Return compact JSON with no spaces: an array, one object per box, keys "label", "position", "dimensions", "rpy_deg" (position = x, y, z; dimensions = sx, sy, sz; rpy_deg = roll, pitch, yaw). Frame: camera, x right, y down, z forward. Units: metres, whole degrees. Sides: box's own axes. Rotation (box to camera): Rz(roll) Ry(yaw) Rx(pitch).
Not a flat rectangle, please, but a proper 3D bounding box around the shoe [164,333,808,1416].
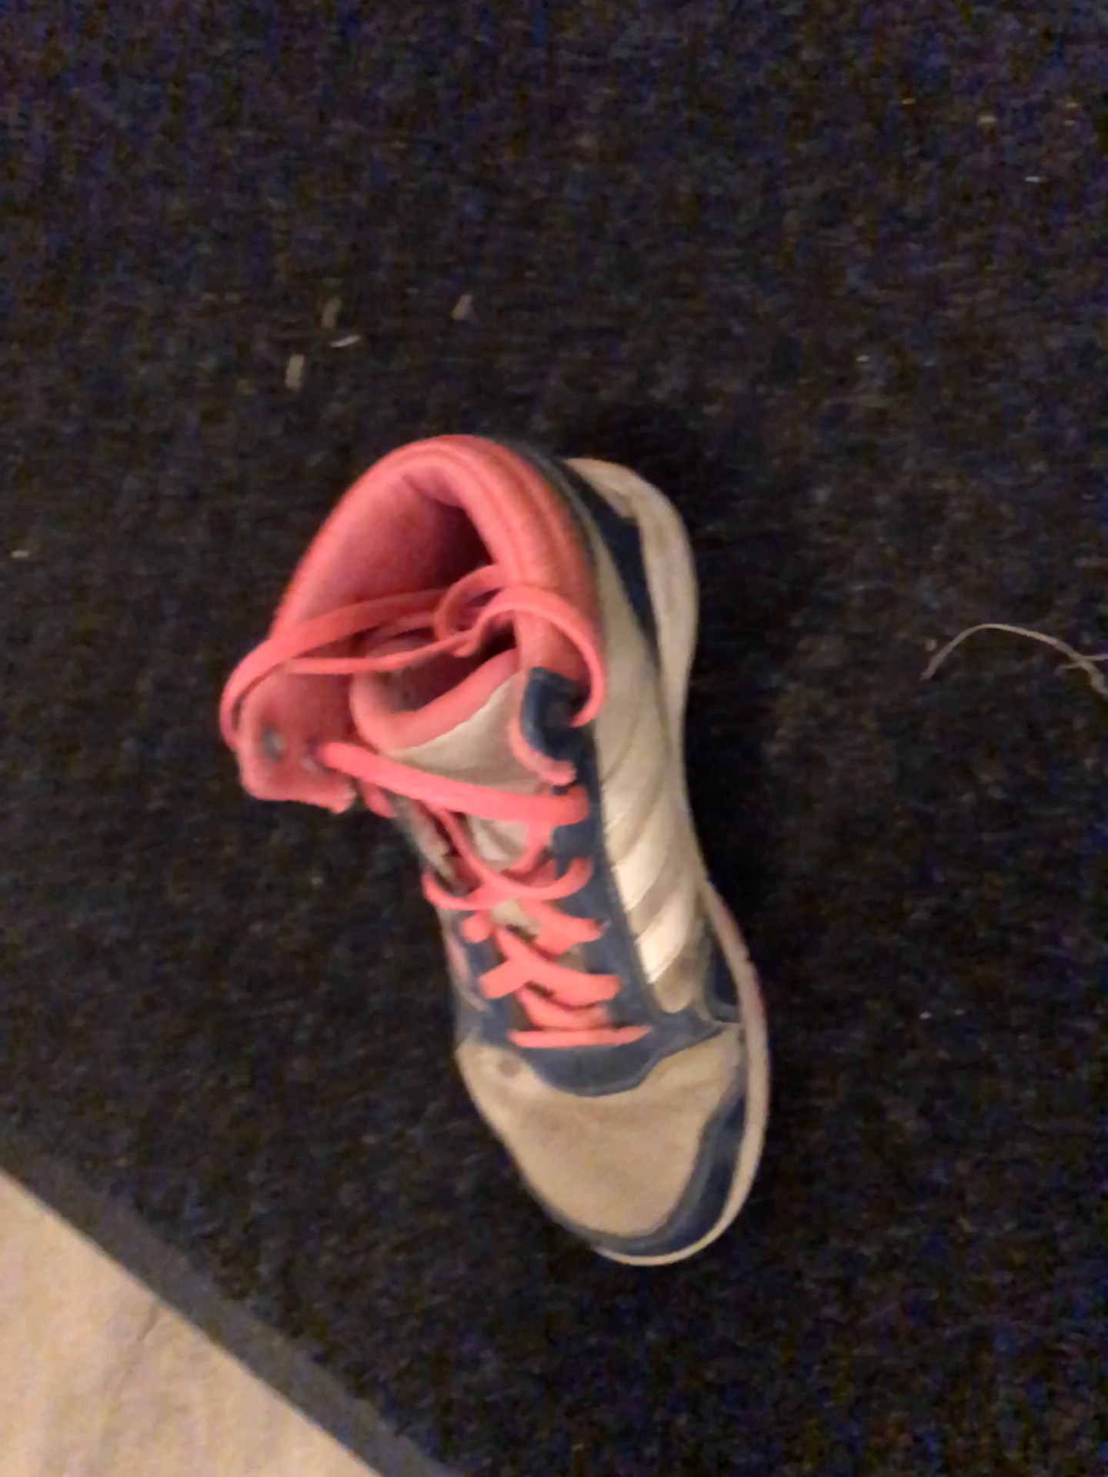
[{"label":"shoe","position":[-0.010,0.029,0.292],"dimensions":[0.090,0.100,0.200],"rpy_deg":[-9,87,24]}]
